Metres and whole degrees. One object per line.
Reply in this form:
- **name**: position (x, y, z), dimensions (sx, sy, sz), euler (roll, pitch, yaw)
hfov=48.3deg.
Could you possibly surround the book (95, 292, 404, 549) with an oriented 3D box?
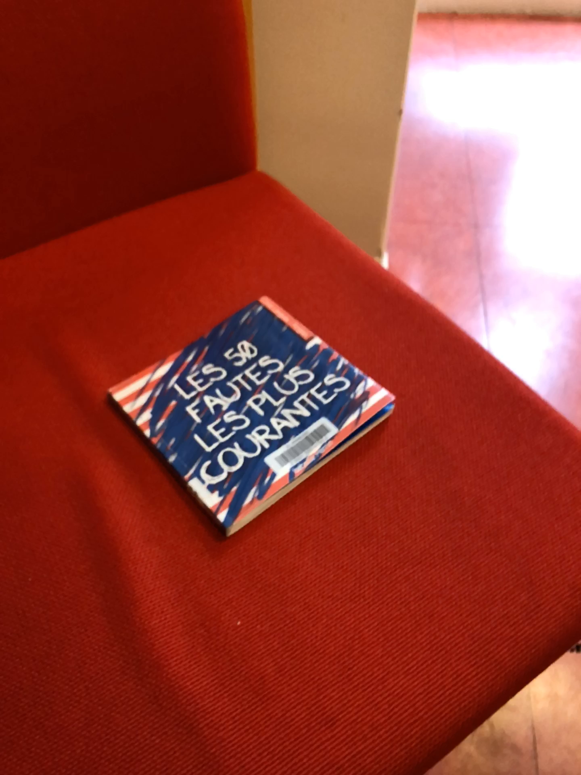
- **book**: position (-0.030, 0.010, 0.442), dimensions (0.149, 0.020, 0.148), euler (-33, 54, -24)
